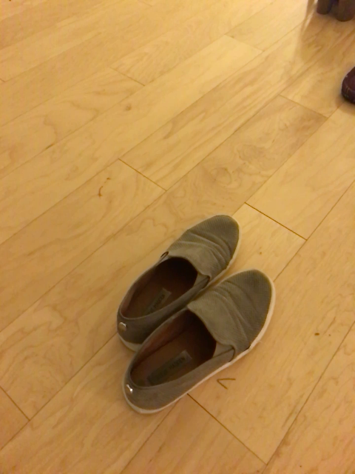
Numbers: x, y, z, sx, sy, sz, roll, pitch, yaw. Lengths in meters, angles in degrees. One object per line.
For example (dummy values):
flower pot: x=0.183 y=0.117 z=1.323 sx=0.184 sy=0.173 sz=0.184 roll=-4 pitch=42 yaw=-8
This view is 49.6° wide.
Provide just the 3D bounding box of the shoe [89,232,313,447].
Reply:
shoe: x=0.039 y=0.127 z=0.527 sx=0.291 sy=0.080 sz=0.110 roll=-35 pitch=62 yaw=-23

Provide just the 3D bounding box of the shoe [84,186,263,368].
shoe: x=0.004 y=0.048 z=0.572 sx=0.100 sy=0.070 sz=0.271 roll=36 pitch=61 yaw=22
